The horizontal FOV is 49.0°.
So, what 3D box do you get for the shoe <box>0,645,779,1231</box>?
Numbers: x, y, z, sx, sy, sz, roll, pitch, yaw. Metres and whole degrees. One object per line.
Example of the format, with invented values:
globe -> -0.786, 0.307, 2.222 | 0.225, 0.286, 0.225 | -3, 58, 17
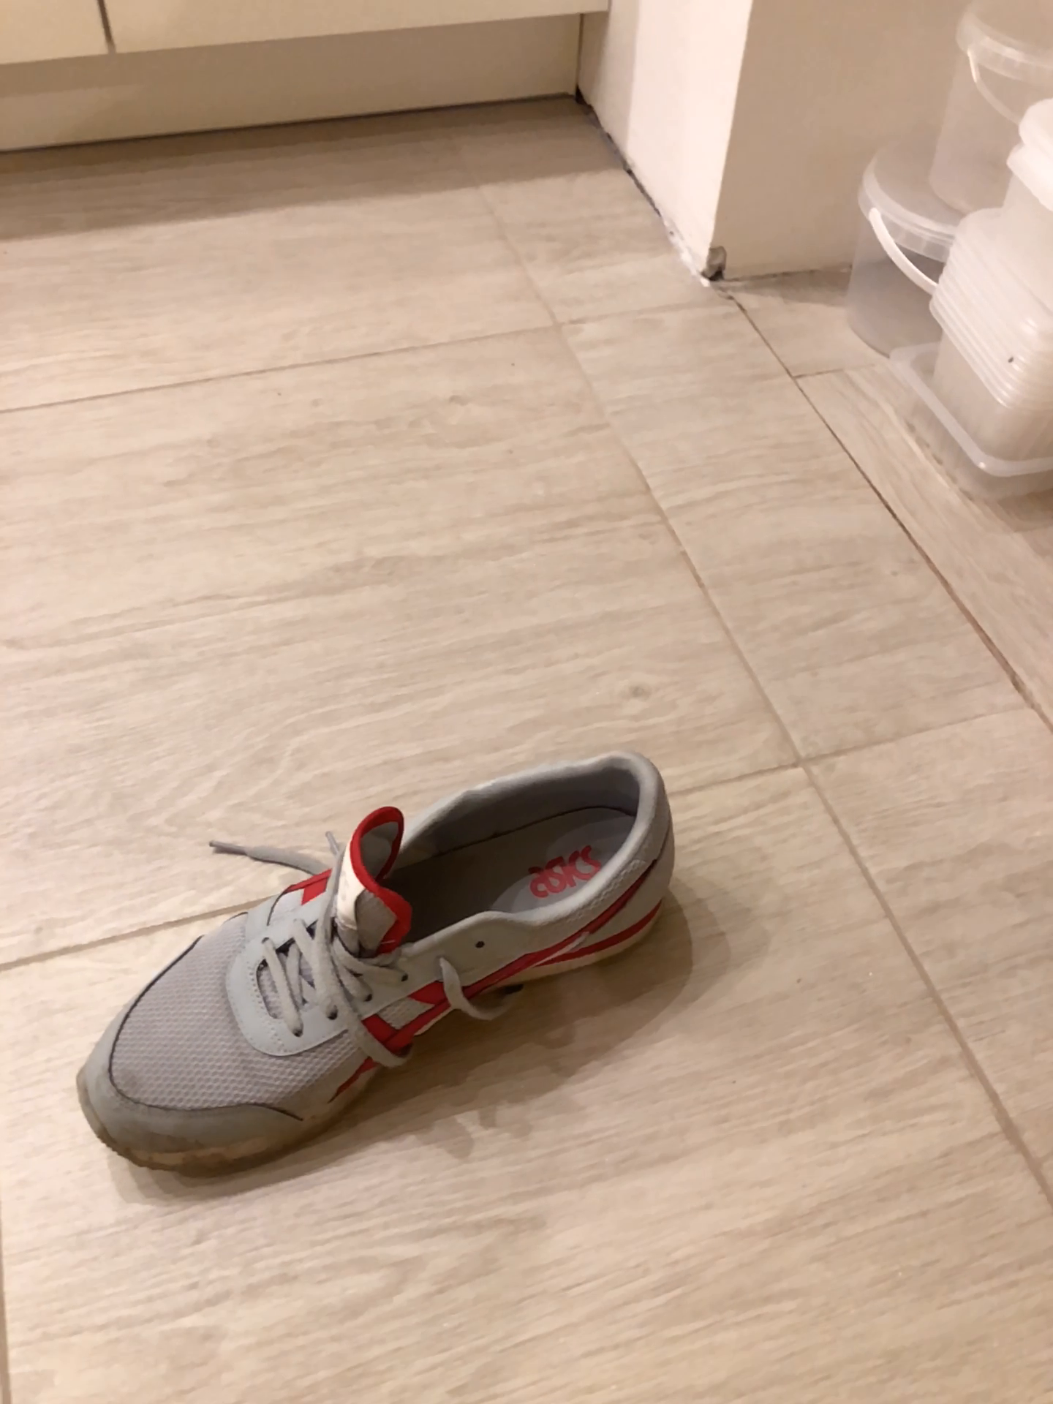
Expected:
shoe -> -0.054, 0.100, 0.521 | 0.298, 0.129, 0.110 | -19, 55, -17
